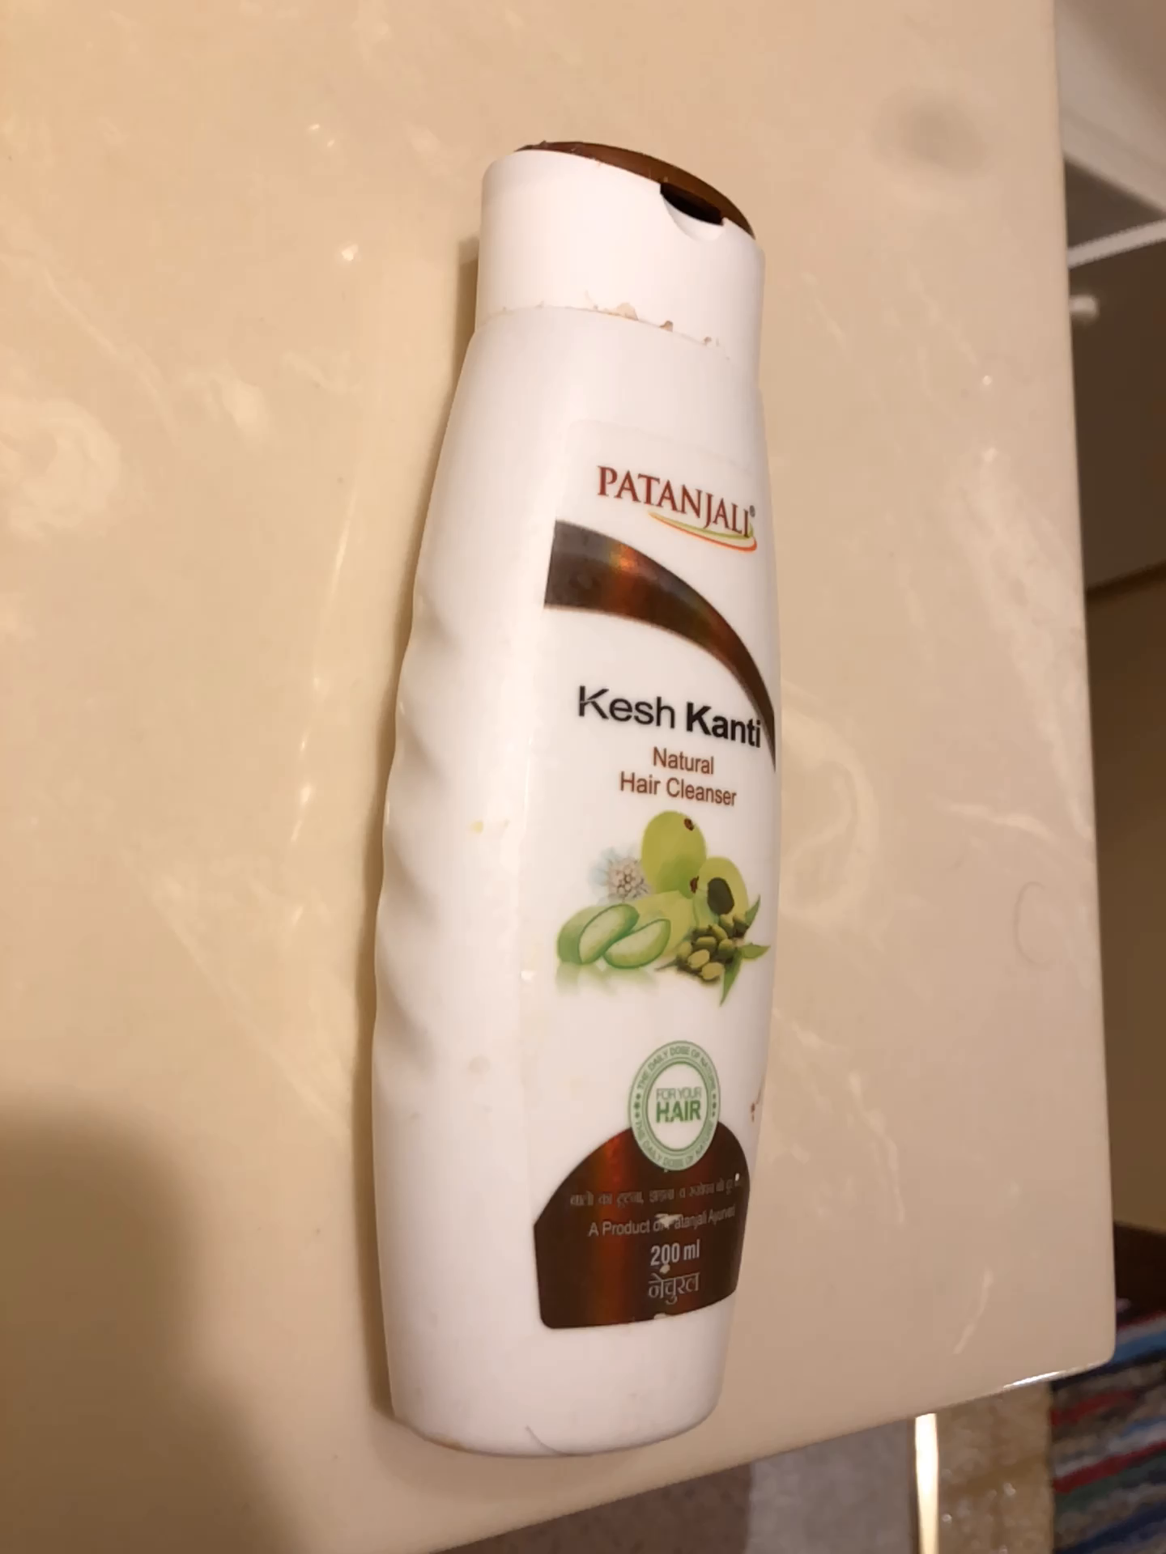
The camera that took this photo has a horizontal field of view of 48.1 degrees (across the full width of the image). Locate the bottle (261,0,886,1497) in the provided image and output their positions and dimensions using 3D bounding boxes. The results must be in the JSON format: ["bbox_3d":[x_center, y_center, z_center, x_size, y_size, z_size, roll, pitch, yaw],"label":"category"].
[{"bbox_3d":[0.003,-0.011,0.197,0.070,0.040,0.200,10,79,-32],"label":"bottle"}]
